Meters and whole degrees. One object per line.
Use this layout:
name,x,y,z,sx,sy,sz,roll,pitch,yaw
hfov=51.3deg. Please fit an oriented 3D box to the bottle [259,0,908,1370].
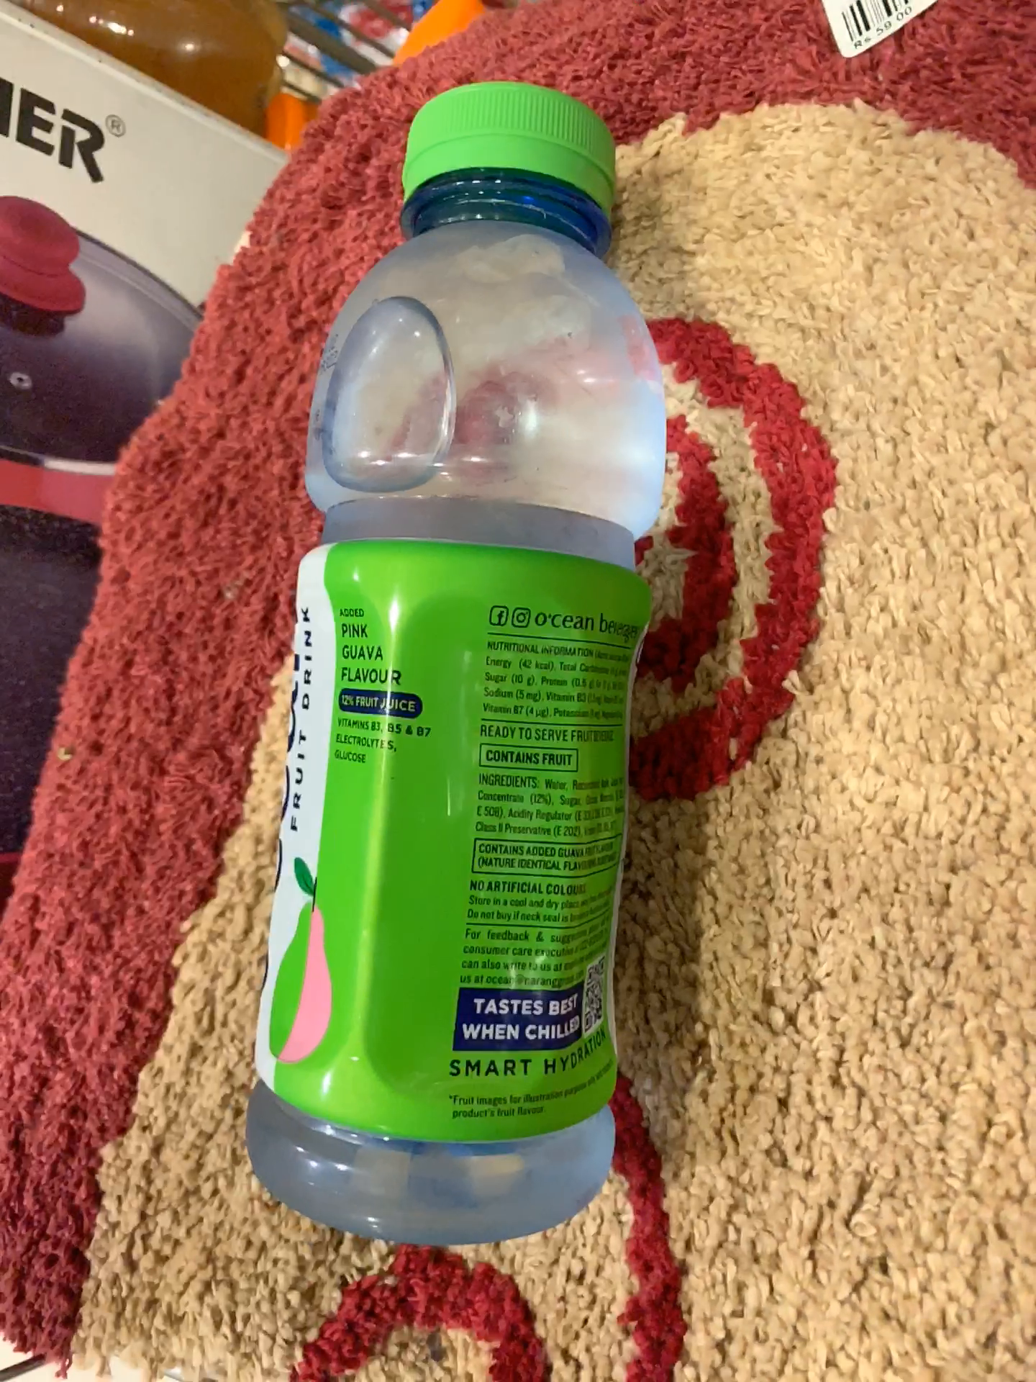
bottle,0.008,-0.012,0.198,0.080,0.070,0.210,3,89,57
